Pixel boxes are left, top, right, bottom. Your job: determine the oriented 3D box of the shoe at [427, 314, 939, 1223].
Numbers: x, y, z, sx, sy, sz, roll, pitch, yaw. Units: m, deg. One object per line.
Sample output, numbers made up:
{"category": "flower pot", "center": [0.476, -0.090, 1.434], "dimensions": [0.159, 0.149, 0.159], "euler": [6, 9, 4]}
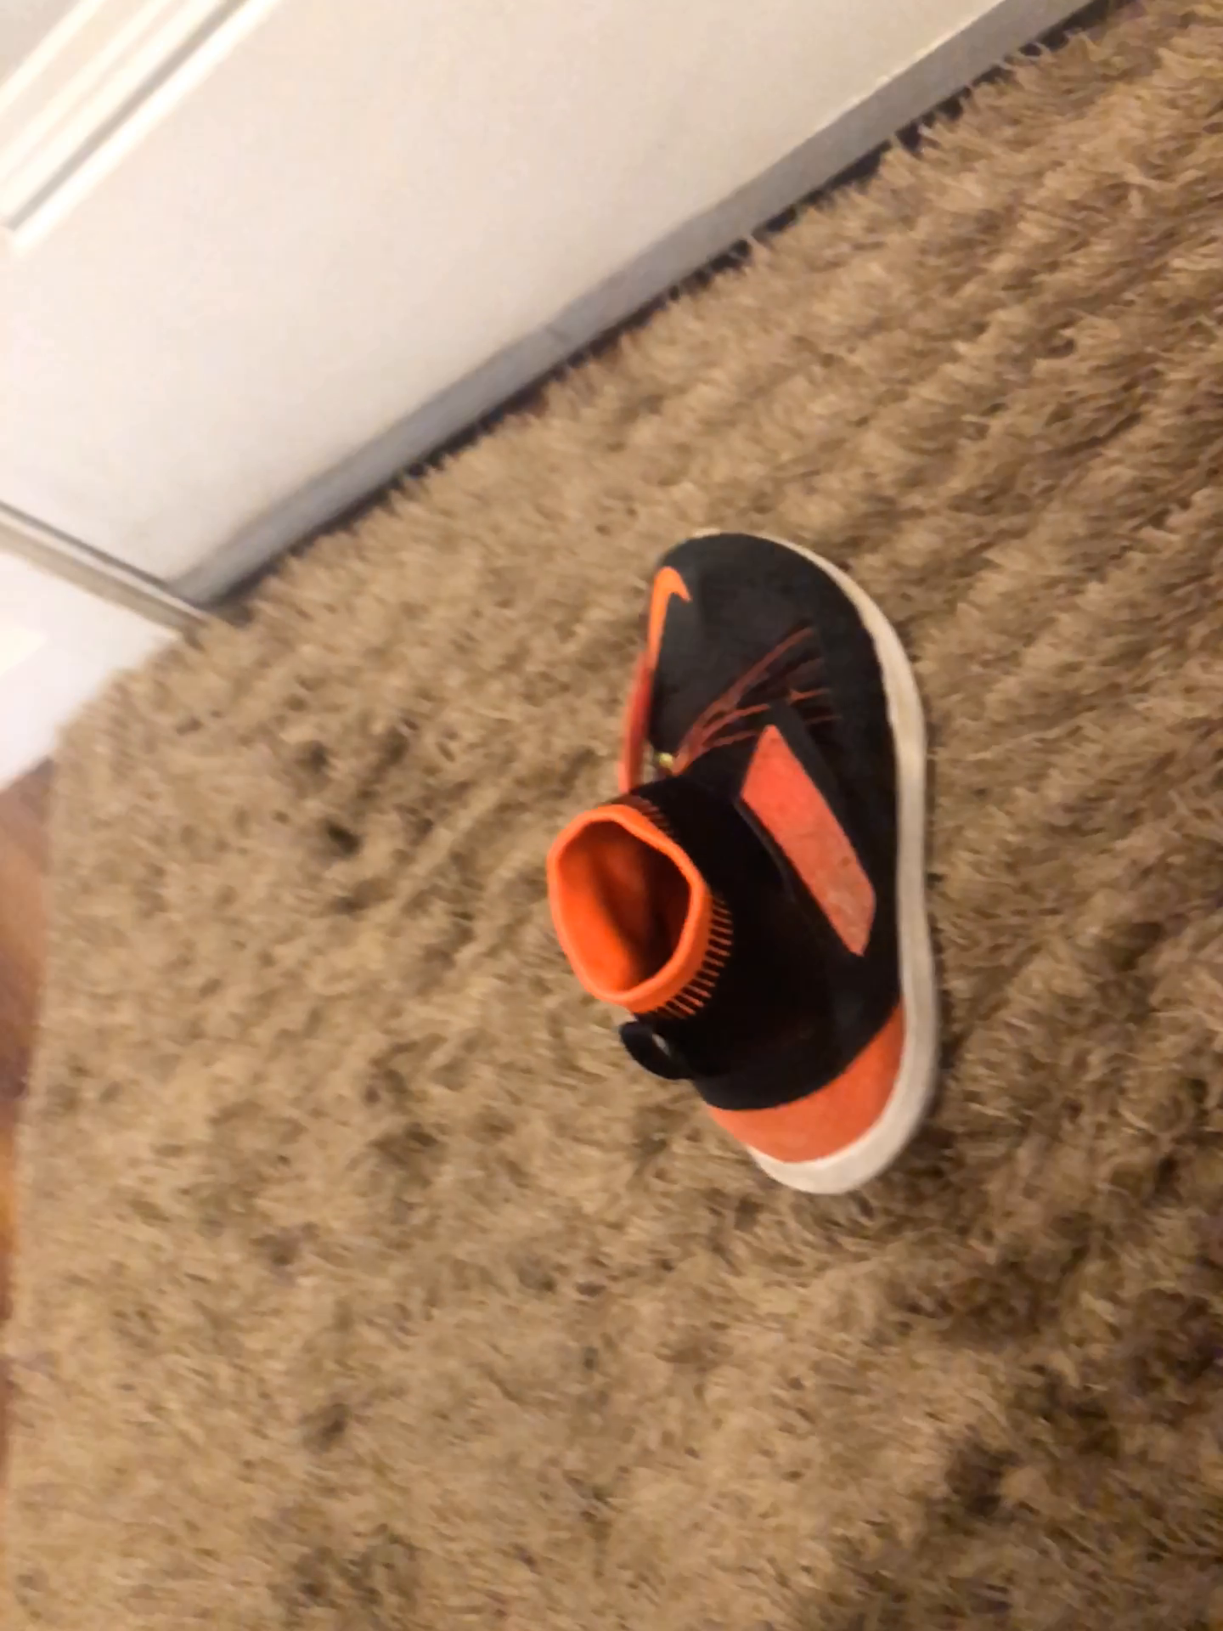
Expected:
{"category": "shoe", "center": [0.020, -0.011, 0.522], "dimensions": [0.110, 0.140, 0.303], "euler": [-20, 62, 32]}
